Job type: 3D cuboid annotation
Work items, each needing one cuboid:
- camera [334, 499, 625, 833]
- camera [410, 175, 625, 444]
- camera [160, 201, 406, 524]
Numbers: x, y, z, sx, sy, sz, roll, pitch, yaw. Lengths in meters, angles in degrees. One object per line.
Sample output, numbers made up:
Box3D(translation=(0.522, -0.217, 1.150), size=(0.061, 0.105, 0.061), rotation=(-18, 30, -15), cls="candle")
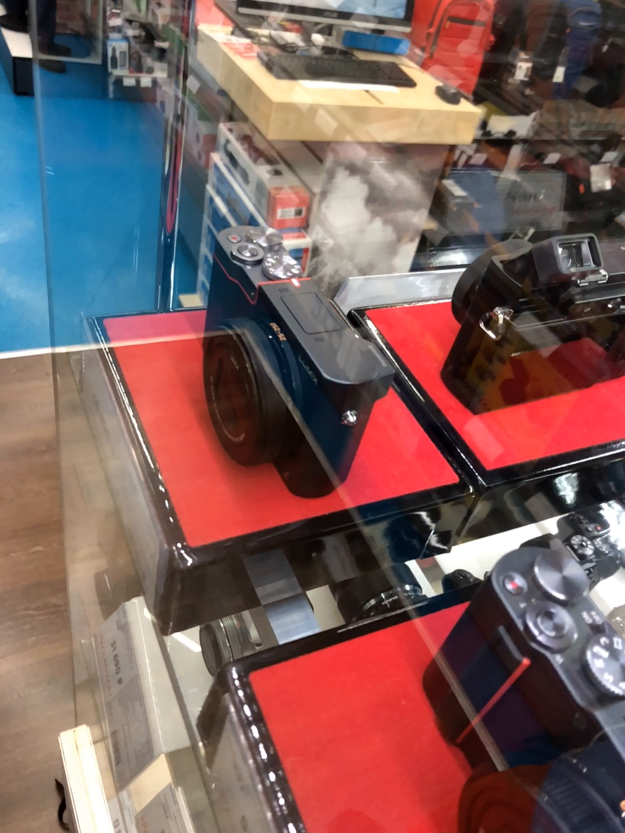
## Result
Box3D(translation=(0.058, 0.090, 0.171), size=(0.051, 0.070, 0.113), rotation=(-8, 46, -24), cls="camera")
Box3D(translation=(0.127, -0.056, 0.347), size=(0.113, 0.101, 0.069), rotation=(-11, 48, -26), cls="camera")
Box3D(translation=(-0.021, -0.027, 0.280), size=(0.050, 0.070, 0.113), rotation=(-9, 47, -25), cls="camera")
